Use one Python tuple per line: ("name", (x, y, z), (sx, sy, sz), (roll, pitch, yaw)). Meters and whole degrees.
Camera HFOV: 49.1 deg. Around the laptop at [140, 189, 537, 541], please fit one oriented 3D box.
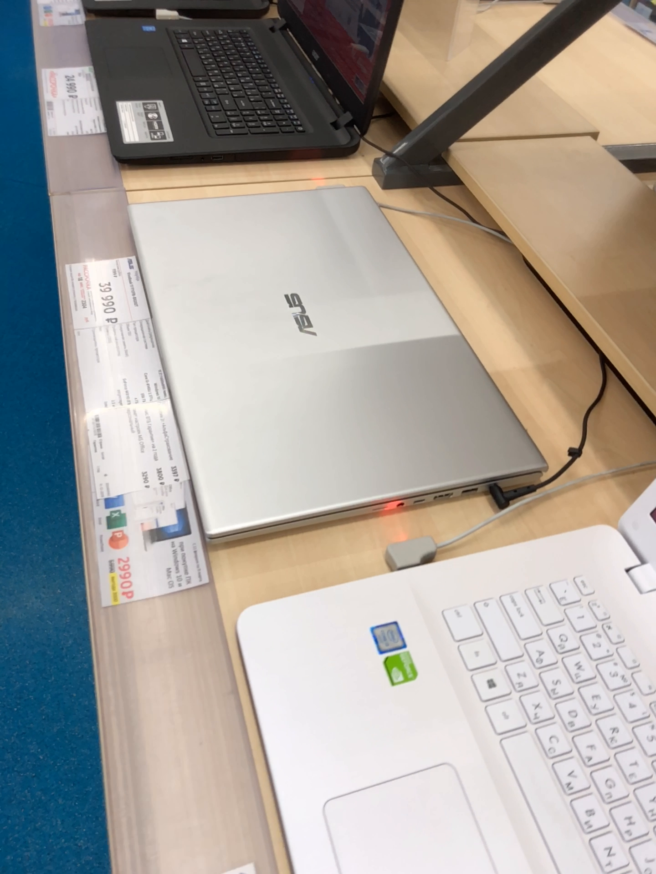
("laptop", (-0.018, -0.098, 0.615), (0.232, 0.006, 0.393), (-11, 50, -14))
